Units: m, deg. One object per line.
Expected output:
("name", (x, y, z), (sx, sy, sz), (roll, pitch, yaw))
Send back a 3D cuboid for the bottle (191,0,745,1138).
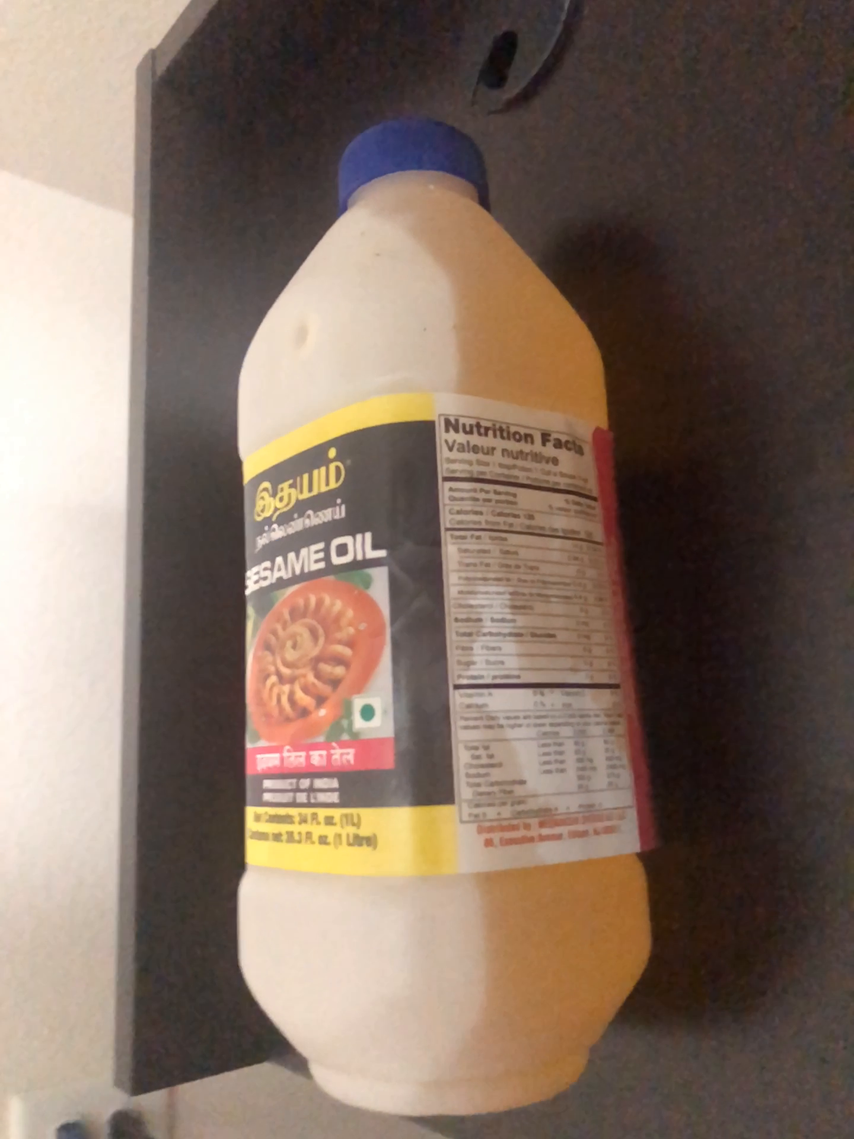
("bottle", (0.004, -0.004, 0.242), (0.091, 0.089, 0.250), (-15, 73, 49))
